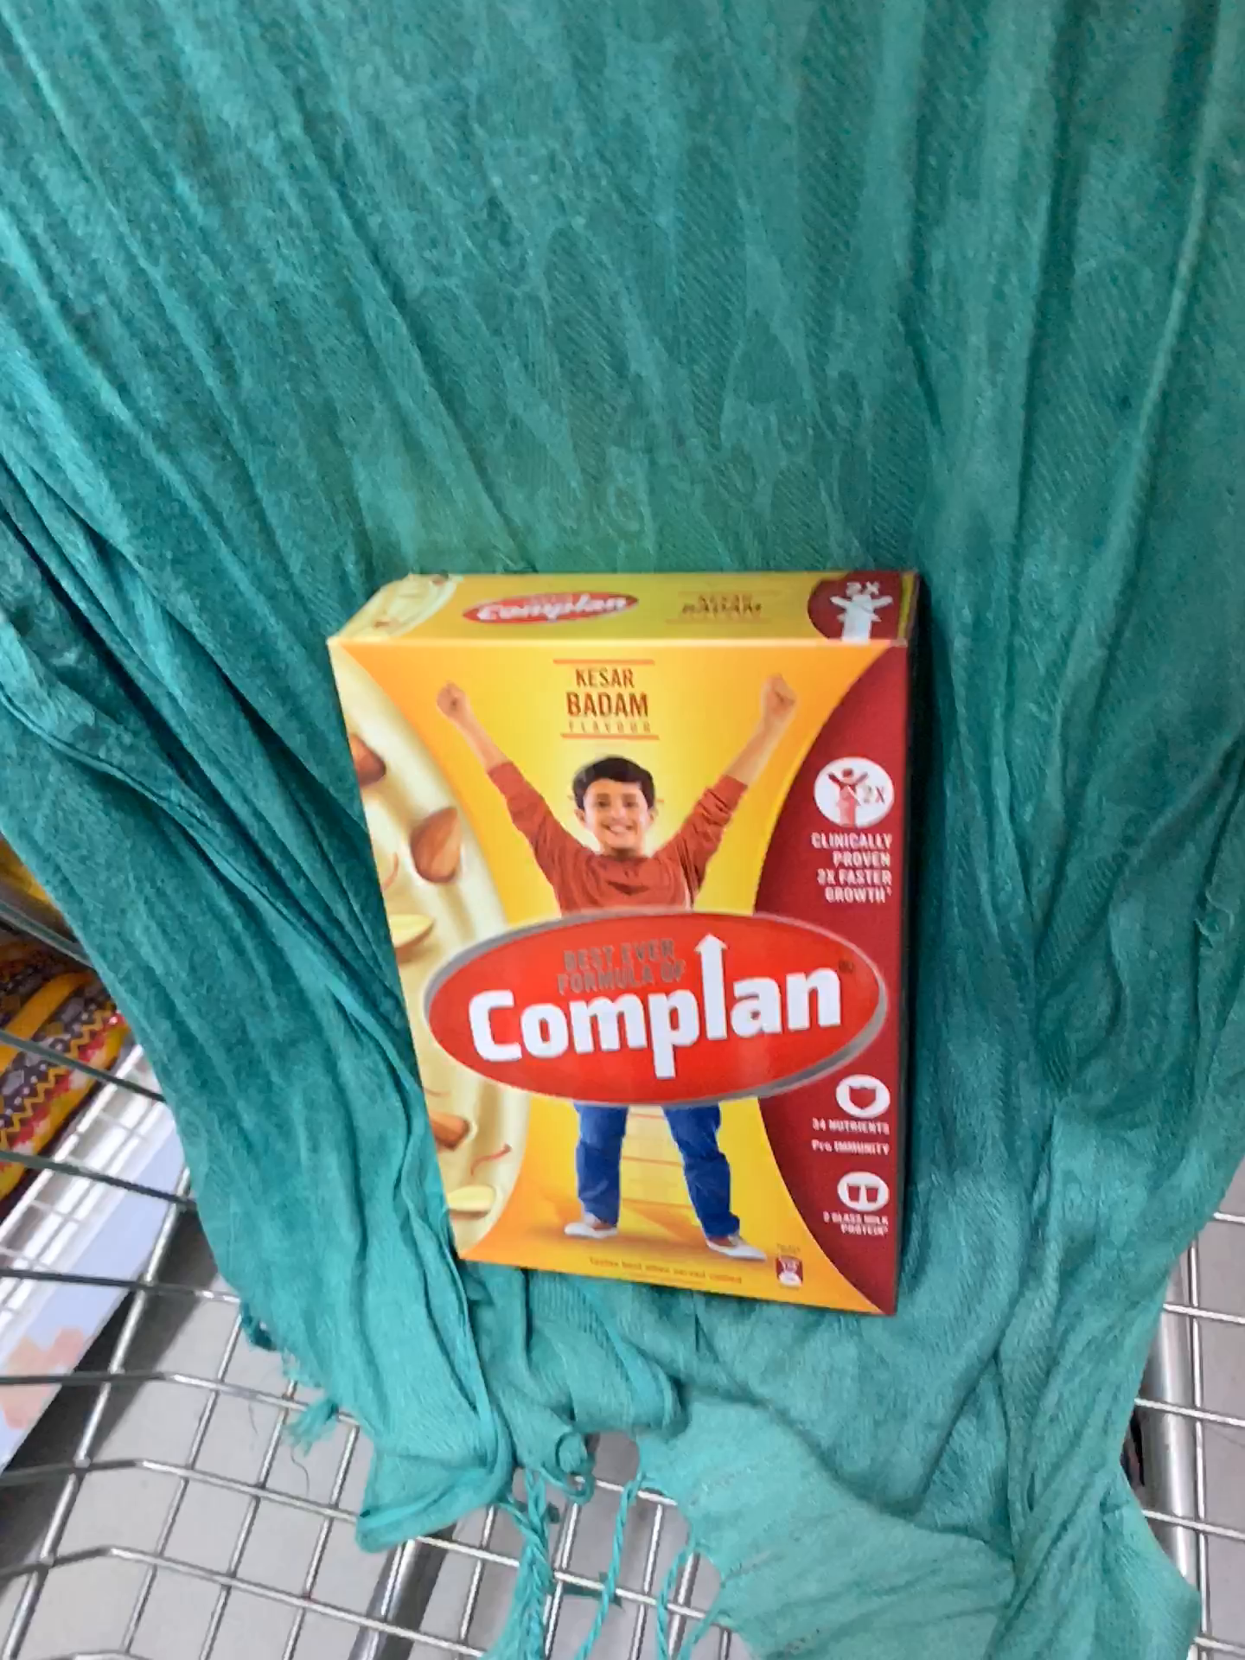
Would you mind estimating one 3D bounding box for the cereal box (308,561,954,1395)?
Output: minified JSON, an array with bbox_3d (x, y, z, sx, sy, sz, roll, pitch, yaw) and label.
[{"bbox_3d":[0.012,0.037,0.336,0.140,0.200,0.060,2,23,17],"label":"cereal box"}]
